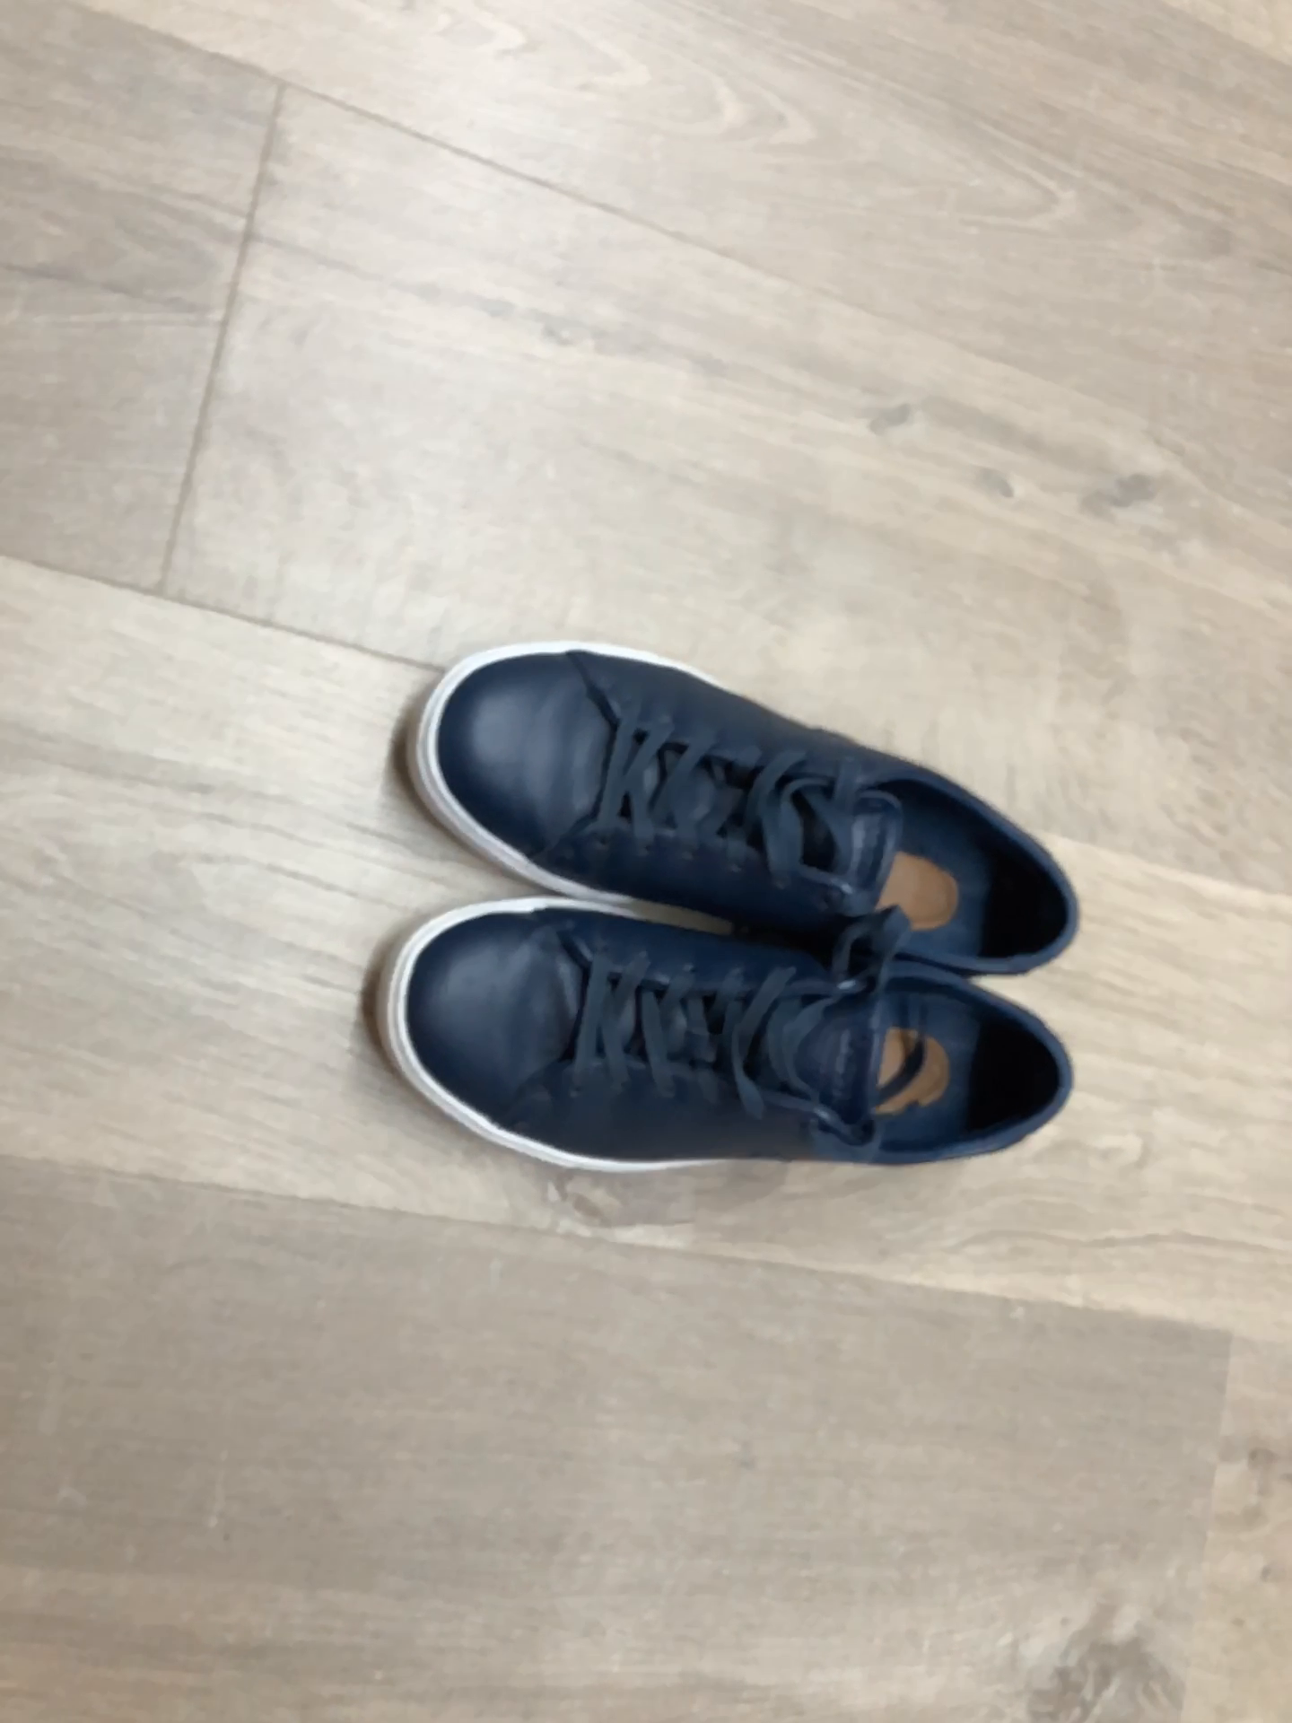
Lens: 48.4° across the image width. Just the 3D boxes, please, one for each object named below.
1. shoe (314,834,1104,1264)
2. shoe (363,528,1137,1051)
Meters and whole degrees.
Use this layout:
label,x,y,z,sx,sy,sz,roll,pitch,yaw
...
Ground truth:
label,x,y,z,sx,sy,sz,roll,pitch,yaw
shoe,0.024,0.067,0.494,0.247,0.080,0.100,12,83,-19
shoe,0.039,-0.016,0.511,0.247,0.080,0.100,18,81,-18
